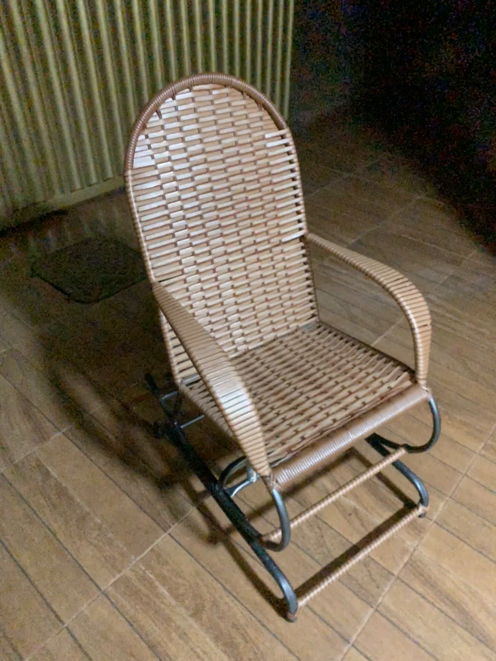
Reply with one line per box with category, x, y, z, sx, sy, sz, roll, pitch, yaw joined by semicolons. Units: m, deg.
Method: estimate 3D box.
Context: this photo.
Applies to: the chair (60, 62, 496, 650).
chair;0.074;0.021;1.251;0.601;1.050;0.785;-22;43;-27
